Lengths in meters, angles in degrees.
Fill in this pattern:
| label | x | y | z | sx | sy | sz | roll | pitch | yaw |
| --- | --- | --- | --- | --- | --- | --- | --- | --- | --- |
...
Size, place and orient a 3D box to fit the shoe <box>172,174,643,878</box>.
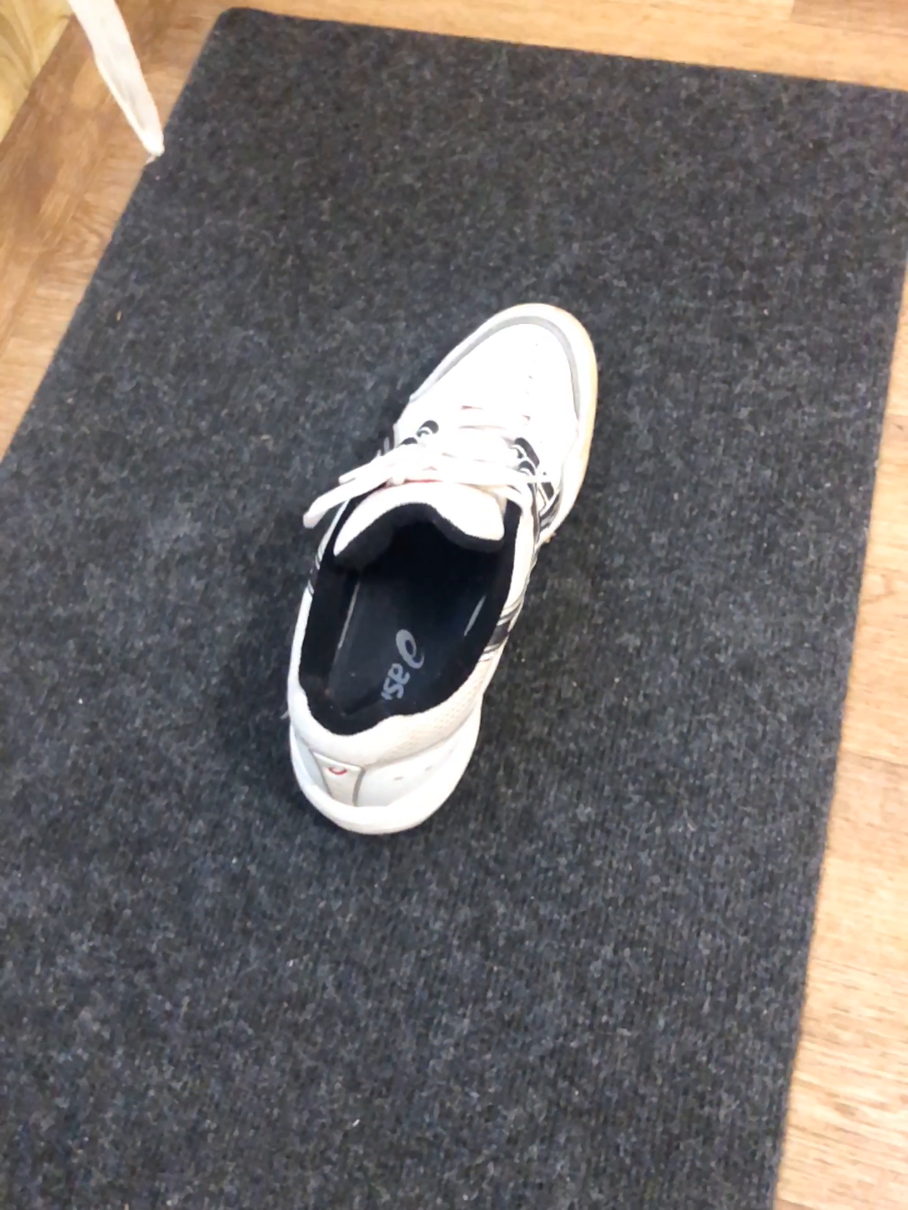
| label | x | y | z | sx | sy | sz | roll | pitch | yaw |
| --- | --- | --- | --- | --- | --- | --- | --- | --- | --- |
| shoe | -0.005 | -0.039 | 0.444 | 0.100 | 0.100 | 0.280 | 15 | 70 | 12 |
